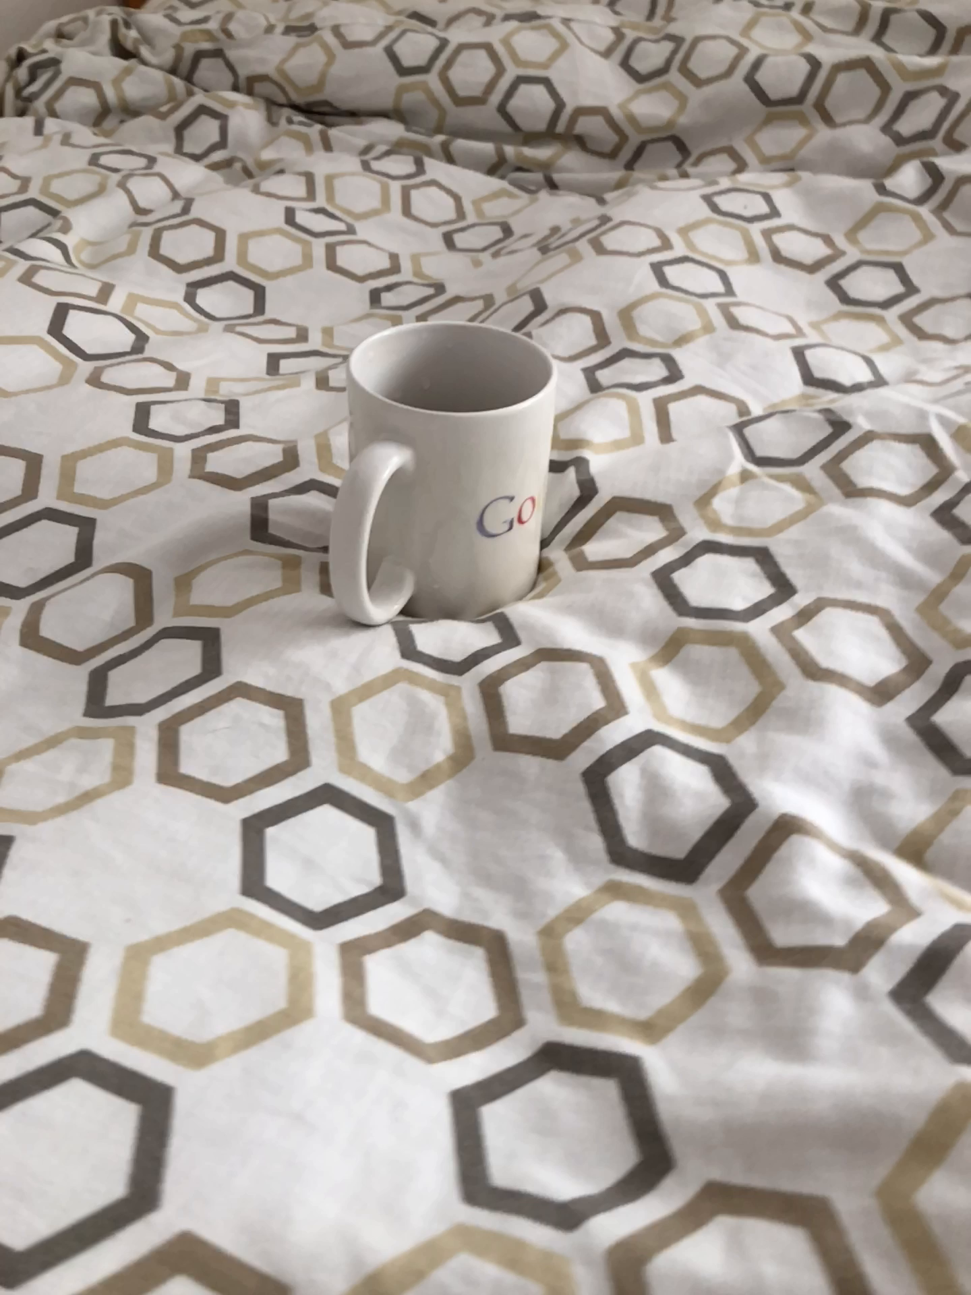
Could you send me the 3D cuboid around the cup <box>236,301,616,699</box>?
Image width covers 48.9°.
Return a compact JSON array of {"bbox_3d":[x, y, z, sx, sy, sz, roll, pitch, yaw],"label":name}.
[{"bbox_3d":[-0.019,-0.064,0.425,0.087,0.087,0.126,22,45,22],"label":"cup"}]
